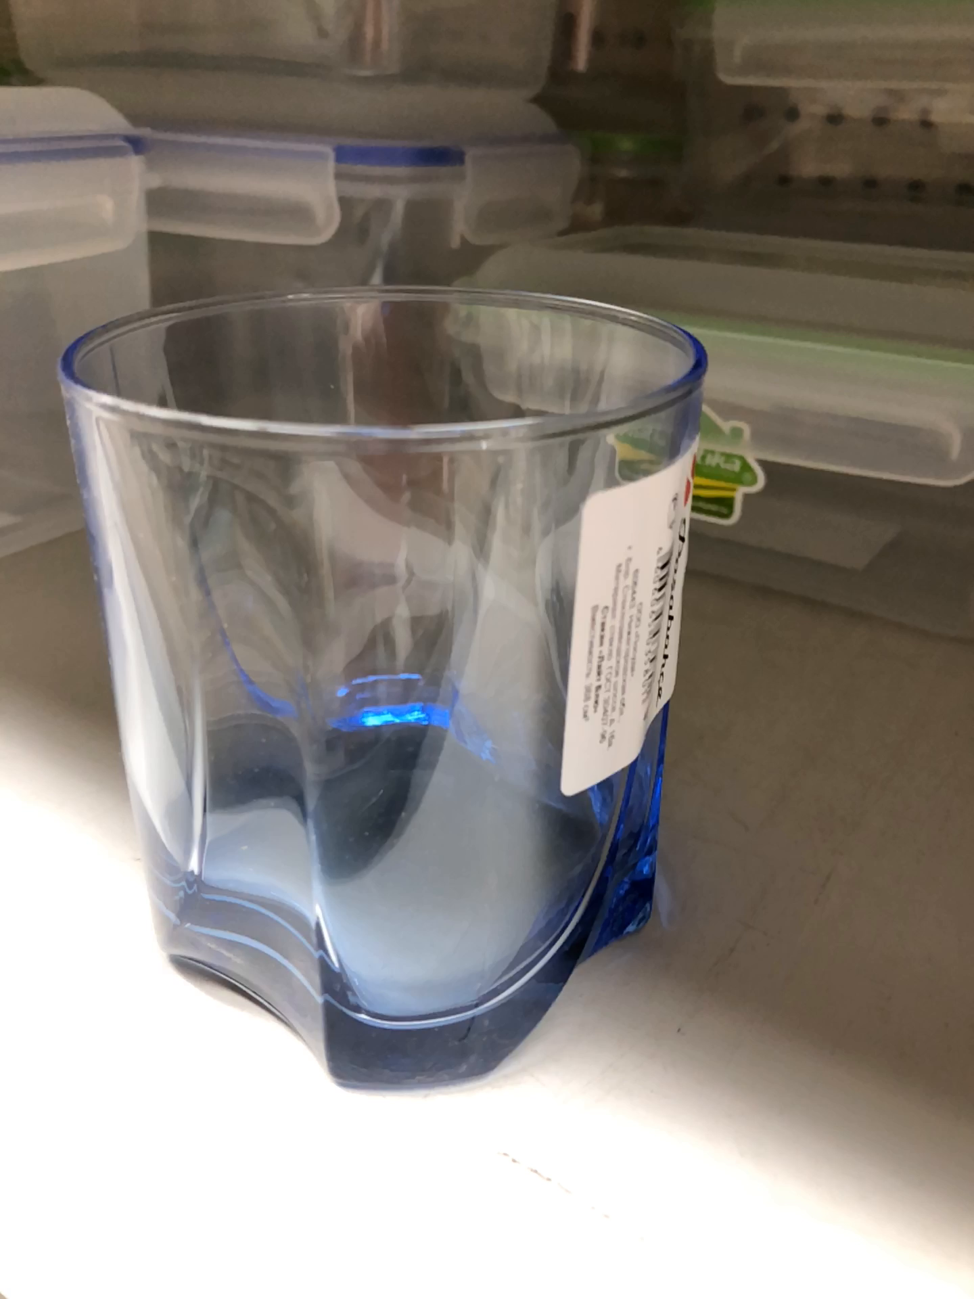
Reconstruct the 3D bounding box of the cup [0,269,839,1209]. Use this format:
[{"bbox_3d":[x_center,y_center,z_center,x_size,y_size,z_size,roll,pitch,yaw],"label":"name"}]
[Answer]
[{"bbox_3d":[-0.011,-0.001,0.166,0.085,0.095,0.083,0,26,0],"label":"cup"}]
